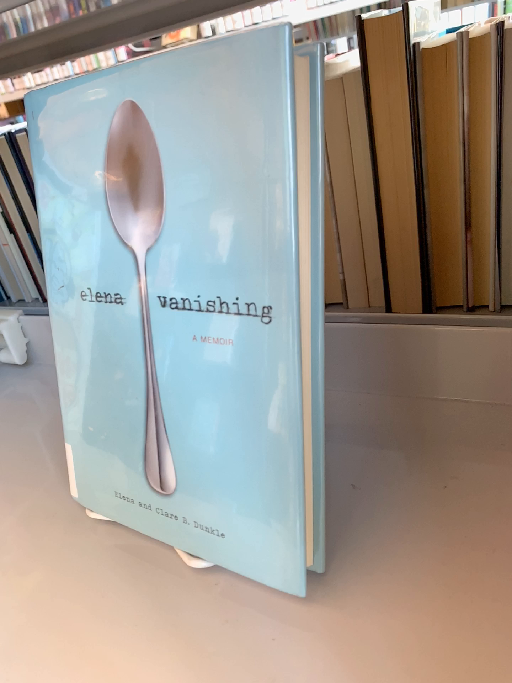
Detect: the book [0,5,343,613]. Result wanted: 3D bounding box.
[{"bbox_3d":[-0.043,-0.009,0.233,0.159,0.203,0.035,7,16,34],"label":"book"}]
